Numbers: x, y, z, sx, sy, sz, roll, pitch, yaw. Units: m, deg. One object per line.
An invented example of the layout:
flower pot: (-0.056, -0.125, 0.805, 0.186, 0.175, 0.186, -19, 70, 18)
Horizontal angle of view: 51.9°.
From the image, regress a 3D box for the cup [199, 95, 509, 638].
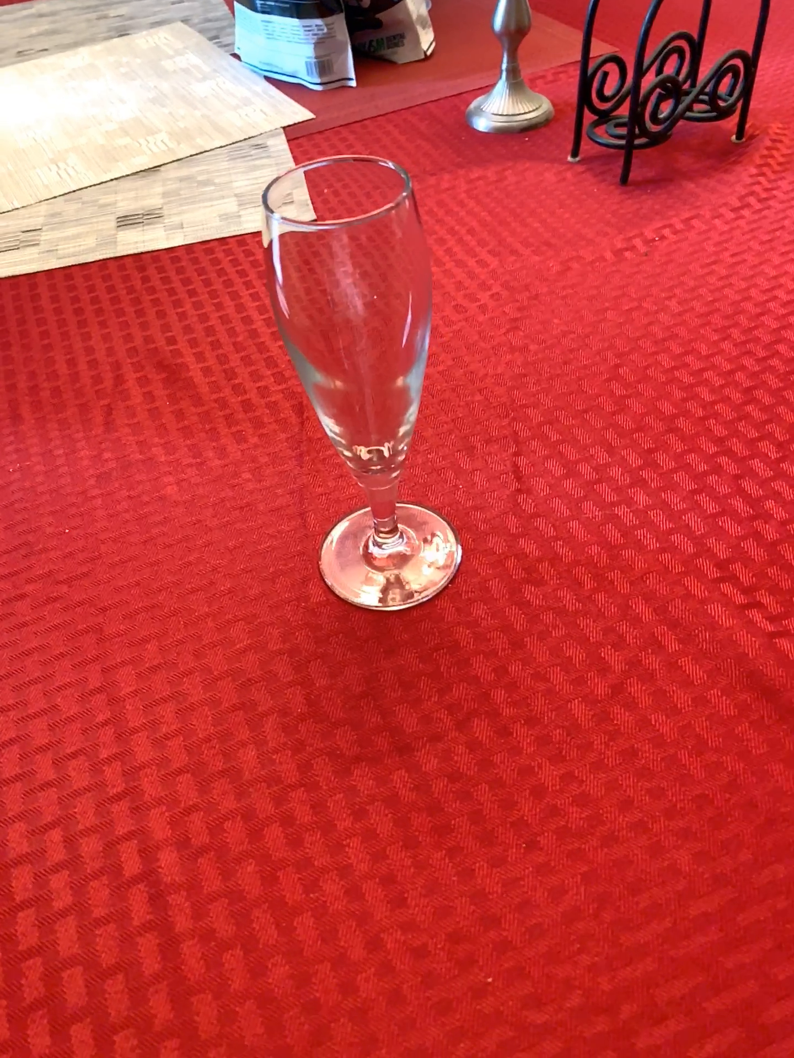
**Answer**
cup: (-0.009, -0.051, 0.315, 0.080, 0.179, 0.080, -4, 47, 4)
